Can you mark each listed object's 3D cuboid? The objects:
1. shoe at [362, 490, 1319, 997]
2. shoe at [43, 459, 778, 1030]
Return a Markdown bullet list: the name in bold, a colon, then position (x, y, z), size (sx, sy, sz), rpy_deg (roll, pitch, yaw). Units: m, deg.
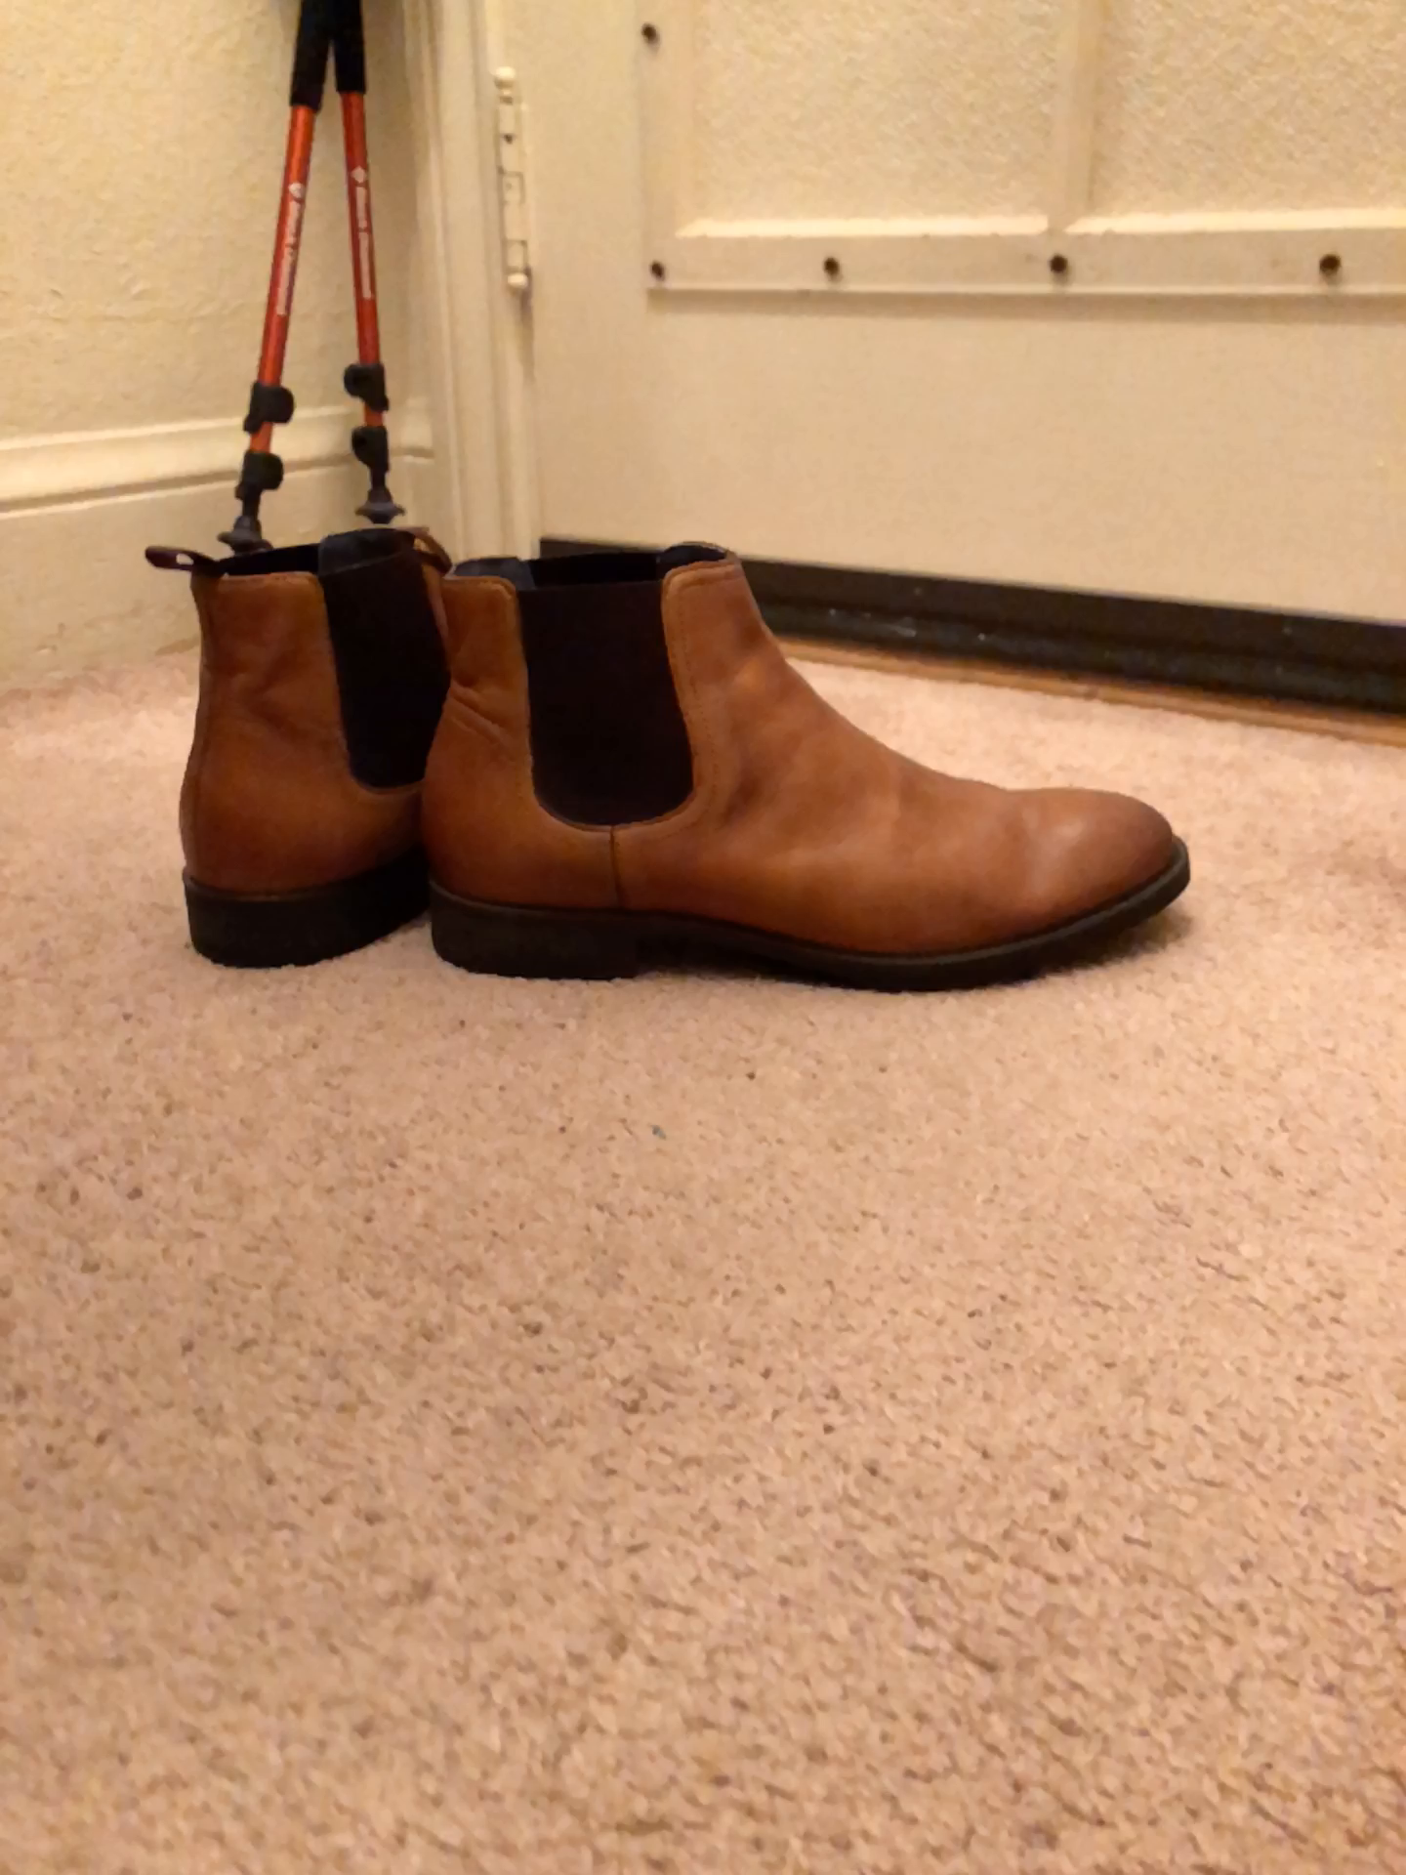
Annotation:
- **shoe**: position (0.046, -0.076, 0.589), size (0.312, 0.165, 0.110), rpy_deg (0, 23, 1)
- **shoe**: position (-0.103, -0.106, 0.684), size (0.109, 0.165, 0.313), rpy_deg (17, 29, 34)
